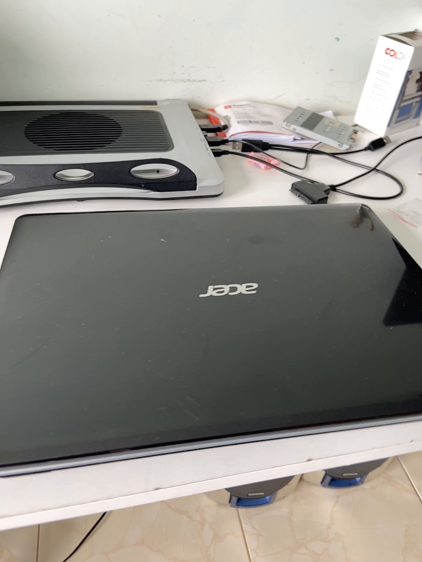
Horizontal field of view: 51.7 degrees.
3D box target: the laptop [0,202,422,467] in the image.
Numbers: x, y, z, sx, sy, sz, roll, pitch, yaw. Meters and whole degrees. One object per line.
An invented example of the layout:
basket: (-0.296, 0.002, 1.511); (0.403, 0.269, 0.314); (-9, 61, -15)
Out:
laptop: (0.015, 0.006, 0.329); (0.335, 0.005, 0.231); (-4, 40, -10)
